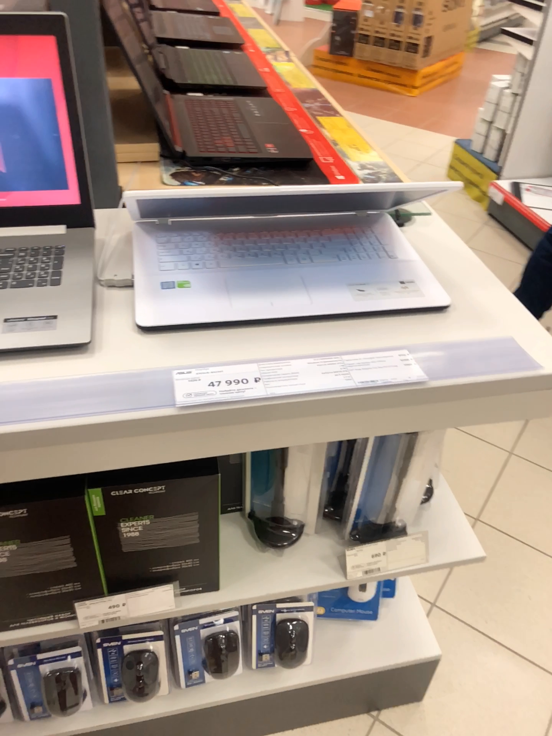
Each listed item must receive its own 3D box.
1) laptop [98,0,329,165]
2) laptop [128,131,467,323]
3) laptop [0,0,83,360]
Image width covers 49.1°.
[{"bbox_3d":[-0.146,-0.593,1.171,0.365,0.220,0.379,-2,41,-7],"label":"laptop"},{"bbox_3d":[0.010,-0.205,0.818,0.391,0.142,0.258,-5,39,-14],"label":"laptop"},{"bbox_3d":[-0.450,-0.227,0.675,0.392,0.262,0.338,-6,39,-14],"label":"laptop"}]
